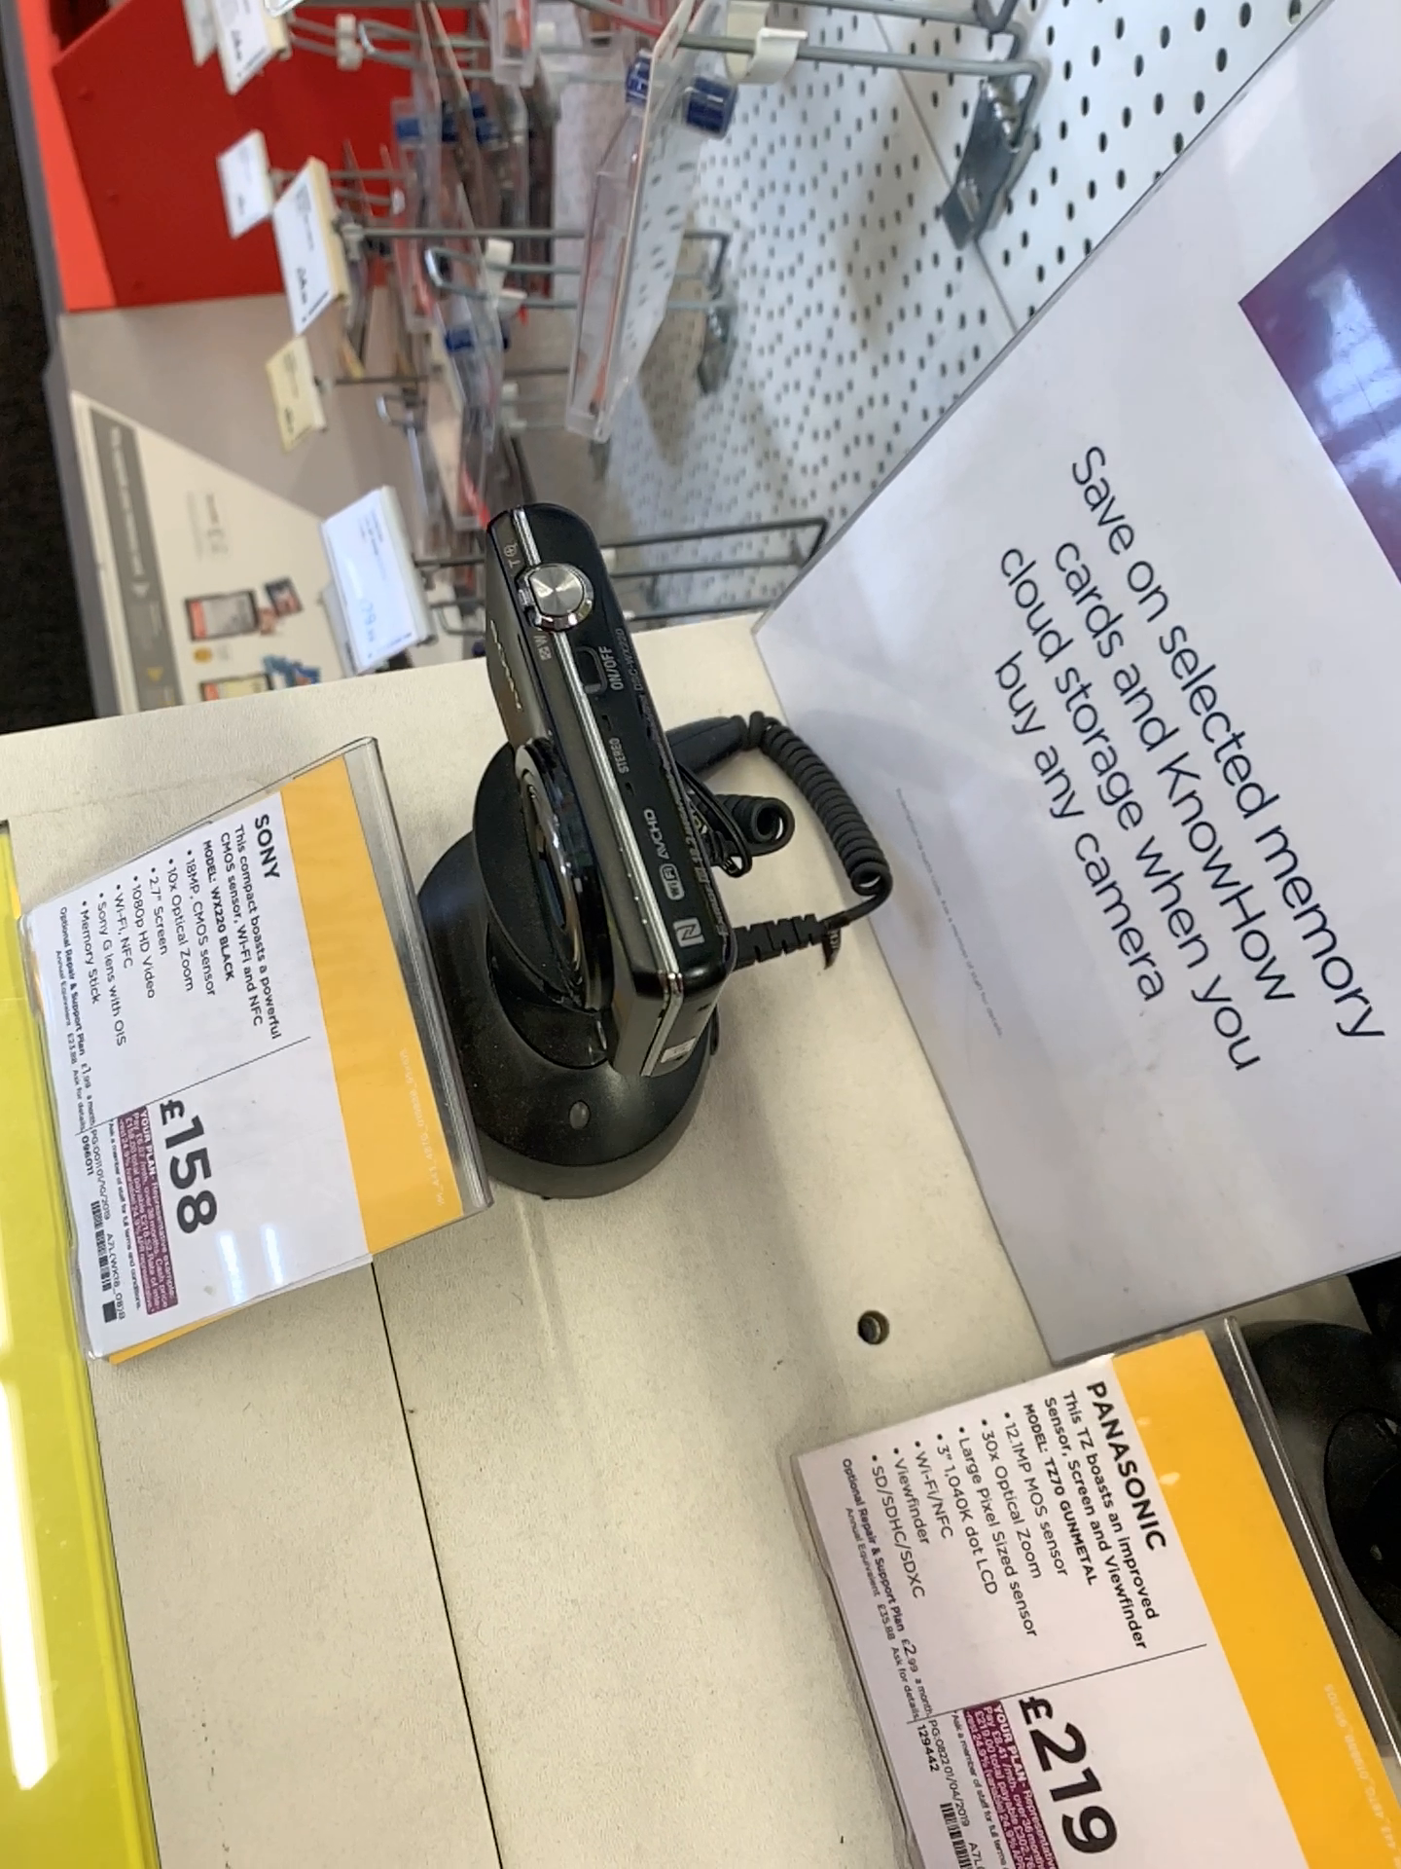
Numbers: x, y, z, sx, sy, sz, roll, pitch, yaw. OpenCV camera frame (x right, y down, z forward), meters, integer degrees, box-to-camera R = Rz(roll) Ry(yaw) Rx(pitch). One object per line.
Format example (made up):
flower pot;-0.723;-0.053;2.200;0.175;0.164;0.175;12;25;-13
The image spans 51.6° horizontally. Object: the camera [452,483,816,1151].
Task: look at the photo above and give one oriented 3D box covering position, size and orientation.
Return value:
camera;-0.016;-0.020;0.251;0.030;0.050;0.100;-14;71;-15
